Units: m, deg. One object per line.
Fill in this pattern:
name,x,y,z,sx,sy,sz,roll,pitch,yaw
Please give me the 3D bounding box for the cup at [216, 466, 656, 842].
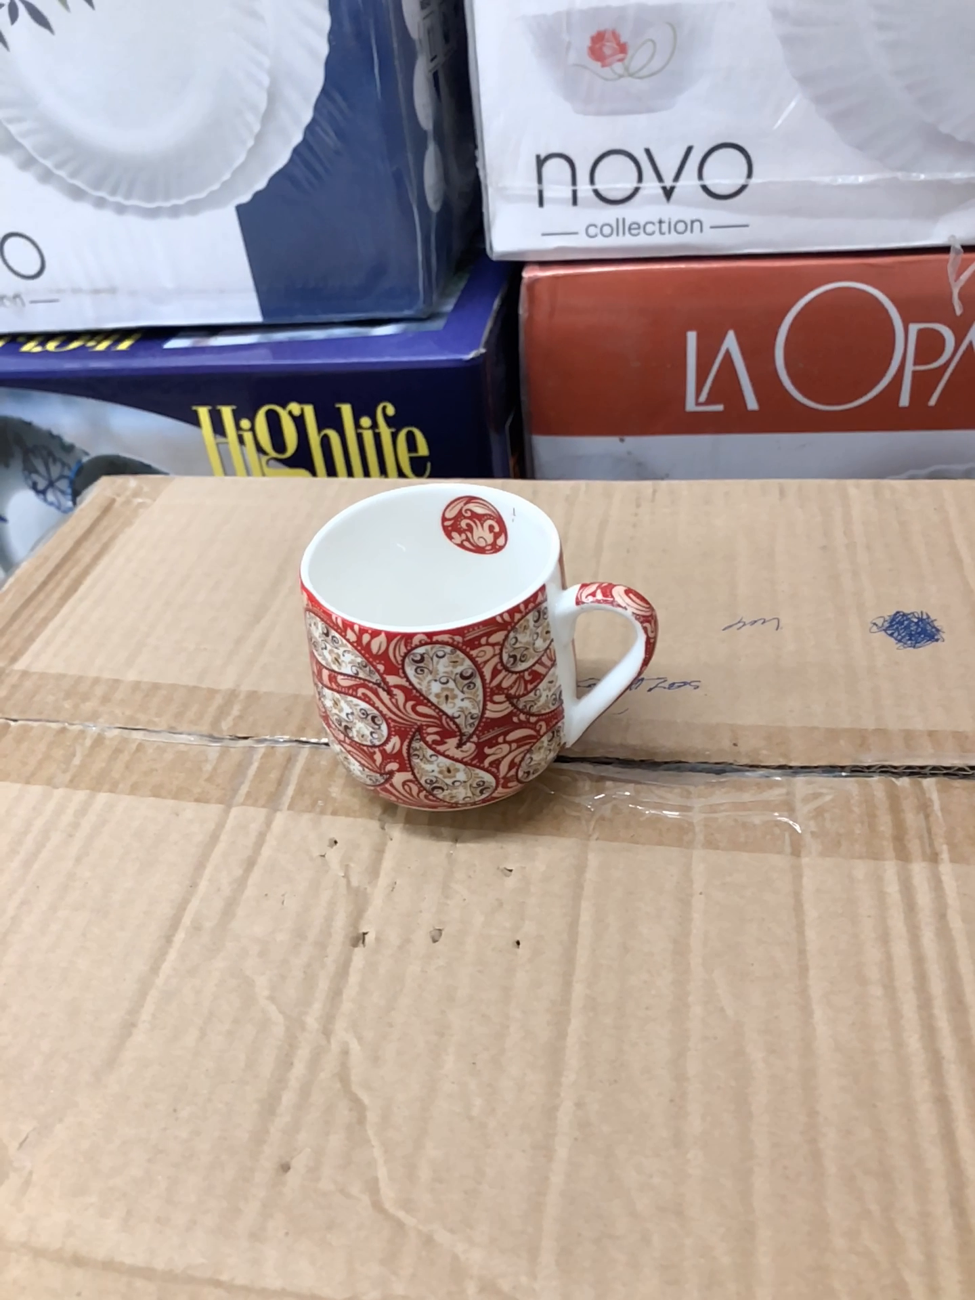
cup,-0.006,0.000,0.264,0.090,0.060,0.070,-1,35,7
